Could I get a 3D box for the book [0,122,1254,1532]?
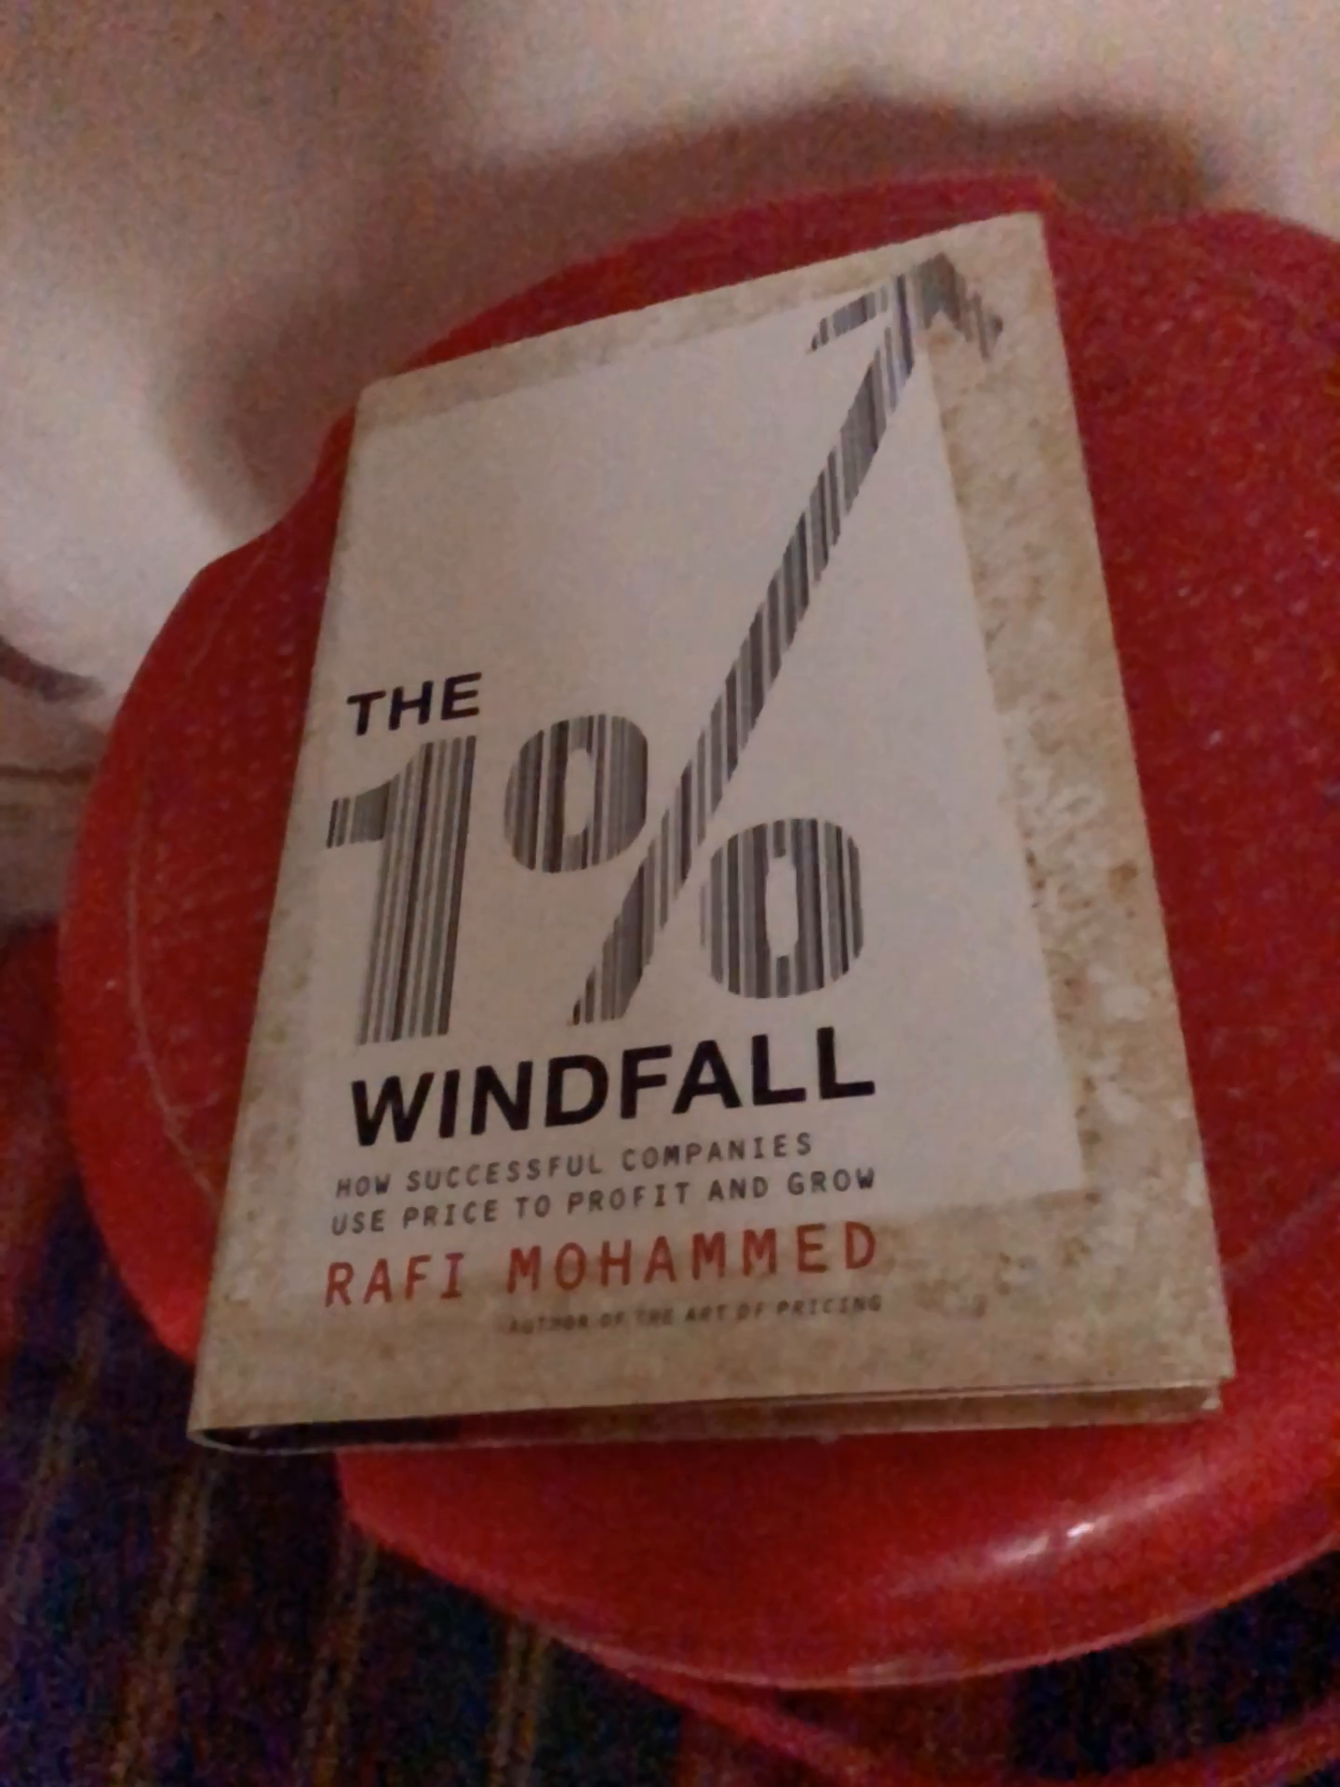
[{"bbox_3d":[-0.009,-0.024,0.285,0.180,0.040,0.260,-9,59,15],"label":"book"}]
